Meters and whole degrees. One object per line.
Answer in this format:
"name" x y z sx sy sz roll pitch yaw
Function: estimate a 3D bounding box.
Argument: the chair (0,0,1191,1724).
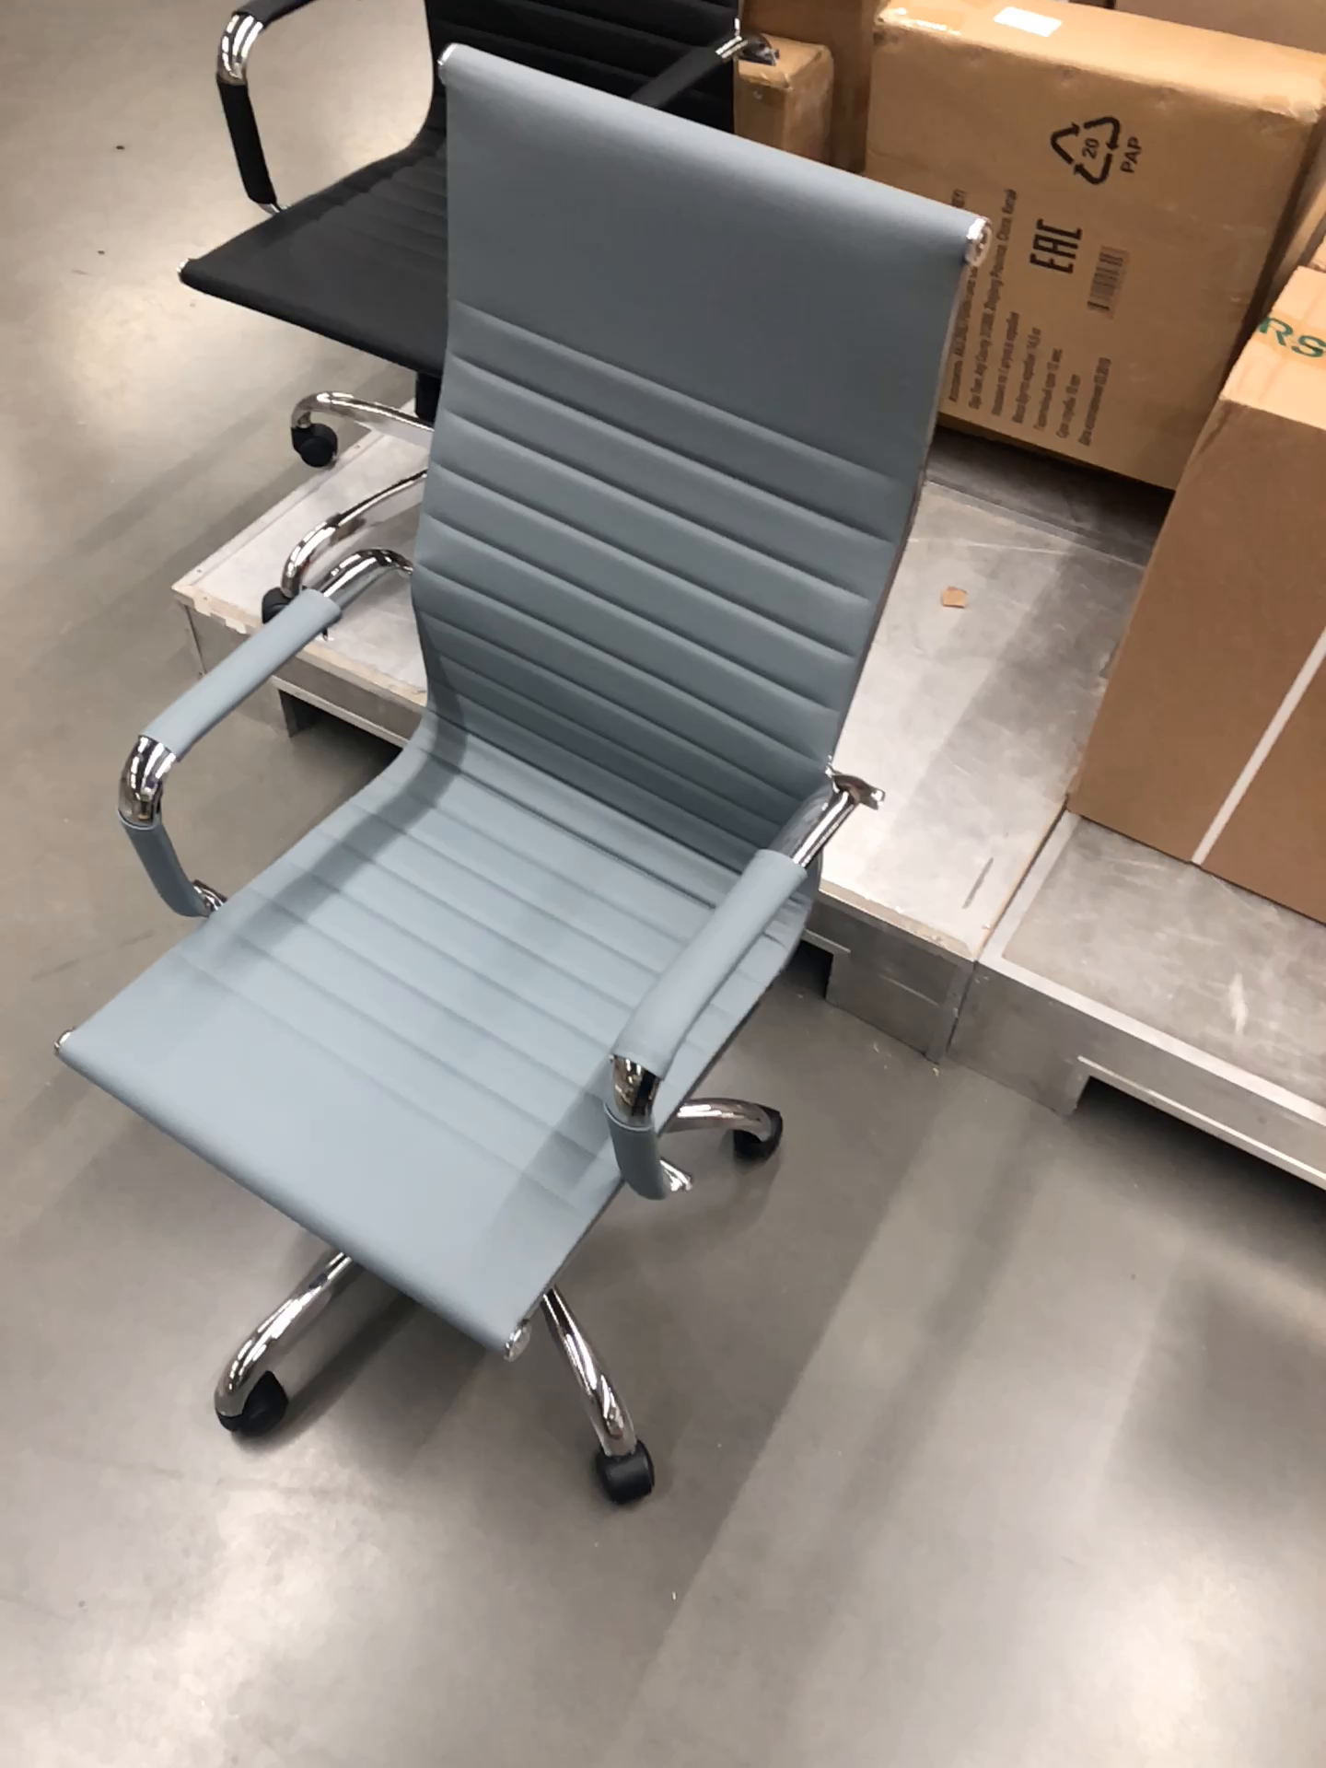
"chair" -0.196 0.047 1.285 0.711 1.213 0.753 29 55 20
